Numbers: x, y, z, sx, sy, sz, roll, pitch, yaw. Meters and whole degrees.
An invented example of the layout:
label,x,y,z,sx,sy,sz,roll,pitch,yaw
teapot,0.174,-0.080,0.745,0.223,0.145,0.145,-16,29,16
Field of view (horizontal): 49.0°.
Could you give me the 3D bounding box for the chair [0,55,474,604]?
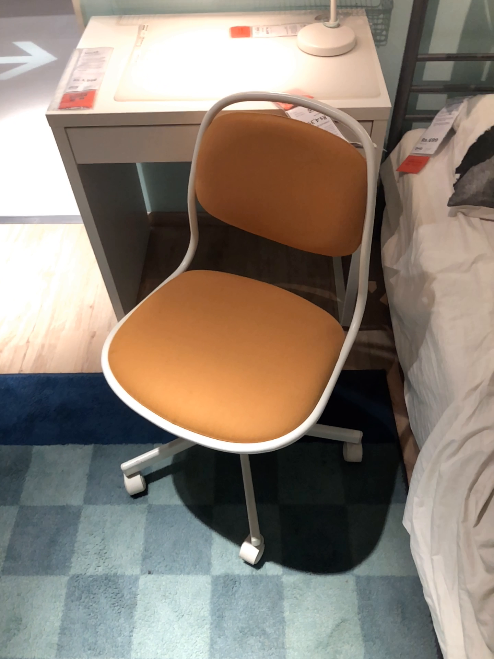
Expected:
label,x,y,z,sx,sy,sz,roll,pitch,yaw
chair,-0.035,0.029,1.092,0.611,0.795,0.562,21,55,19
